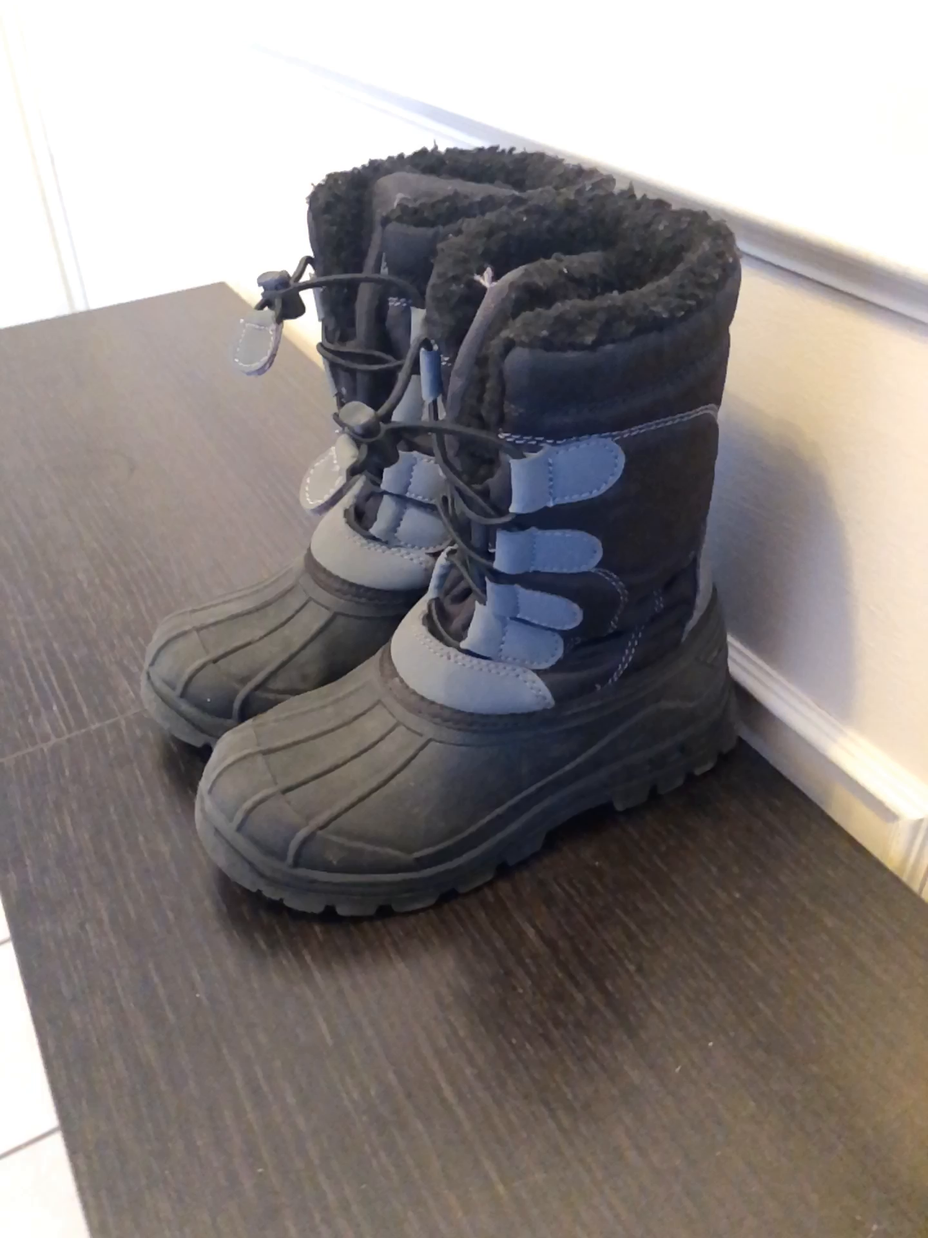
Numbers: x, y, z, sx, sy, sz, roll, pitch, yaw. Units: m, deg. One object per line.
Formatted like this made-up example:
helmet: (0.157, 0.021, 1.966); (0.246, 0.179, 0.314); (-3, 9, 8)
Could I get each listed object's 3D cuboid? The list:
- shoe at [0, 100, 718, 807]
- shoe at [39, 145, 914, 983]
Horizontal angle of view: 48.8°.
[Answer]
shoe: (-0.033, -0.070, 0.405); (0.220, 0.209, 0.101); (-18, 40, -21)
shoe: (0.006, -0.023, 0.345); (0.220, 0.209, 0.101); (-18, 40, -21)
